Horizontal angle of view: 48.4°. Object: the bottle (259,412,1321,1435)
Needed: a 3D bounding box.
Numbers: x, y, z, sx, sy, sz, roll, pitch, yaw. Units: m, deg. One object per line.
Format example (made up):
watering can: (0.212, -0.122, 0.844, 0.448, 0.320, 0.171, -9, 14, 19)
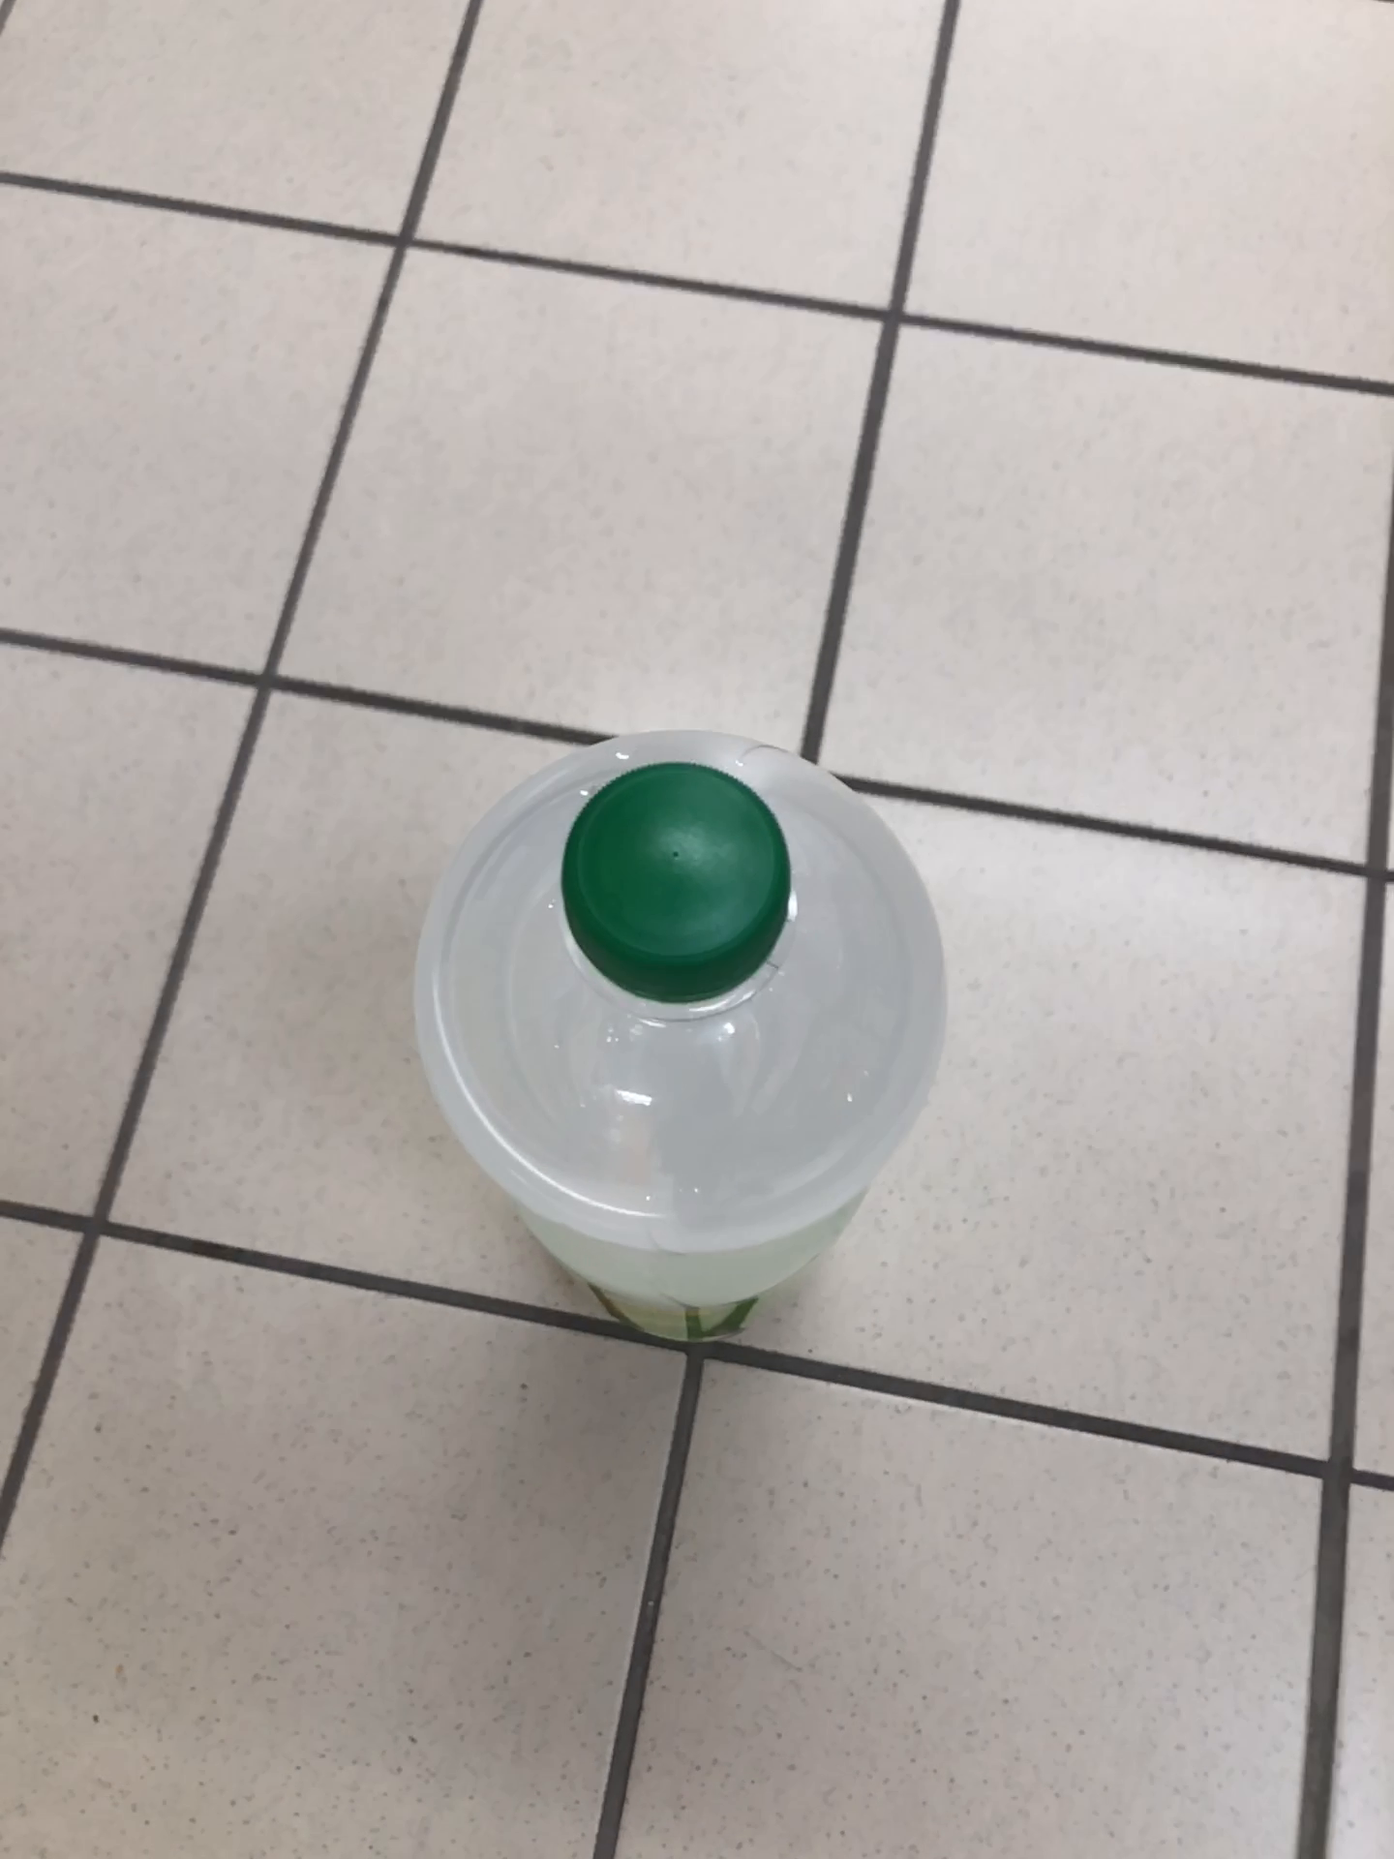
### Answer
bottle: (0.011, 0.040, 0.342, 0.100, 0.310, 0.100, 0, 71, 1)
